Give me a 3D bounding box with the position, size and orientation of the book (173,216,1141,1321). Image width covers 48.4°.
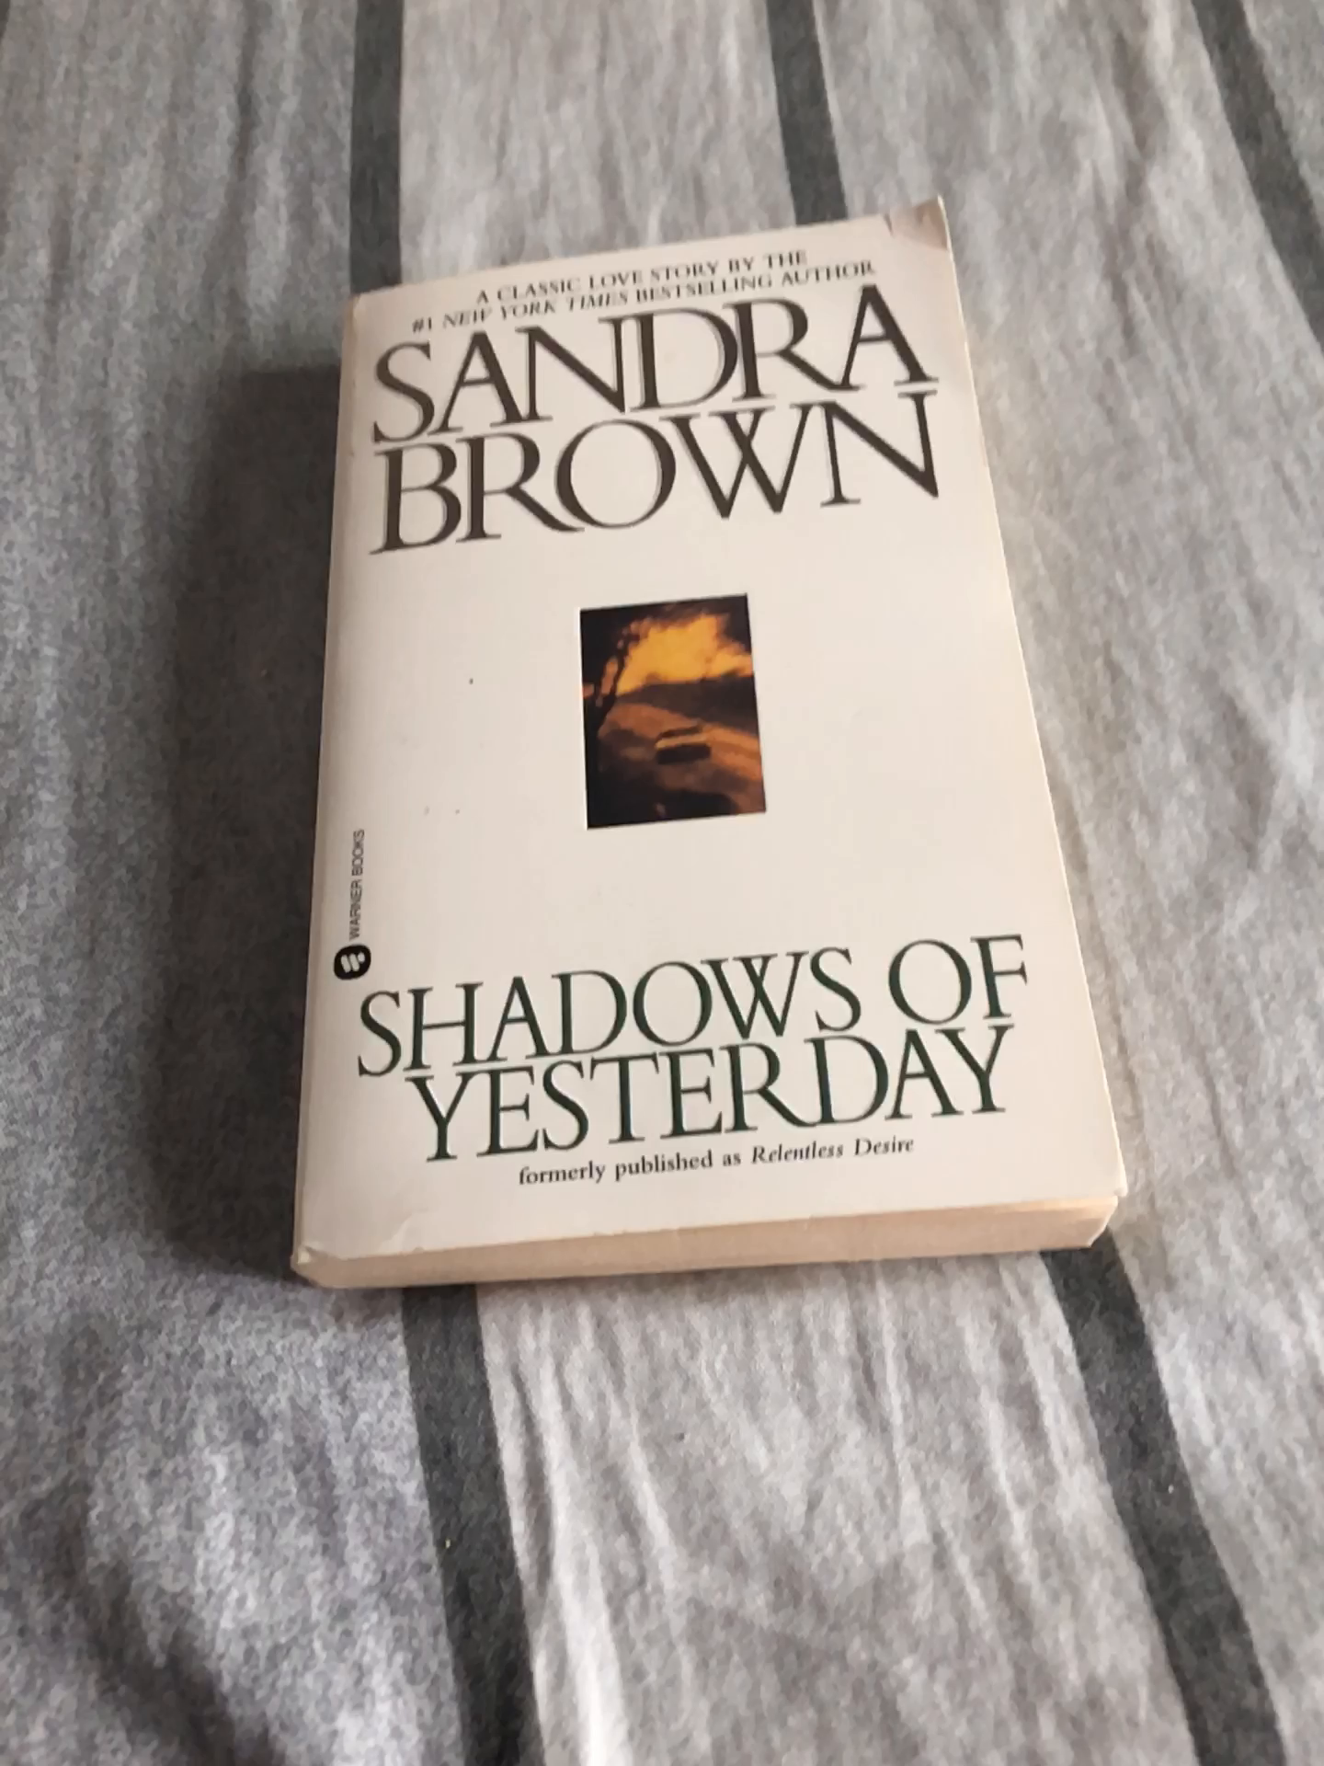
[{"bbox_3d":[-0.003,-0.028,0.235,0.120,0.030,0.181,-2,64,0],"label":"book"}]
